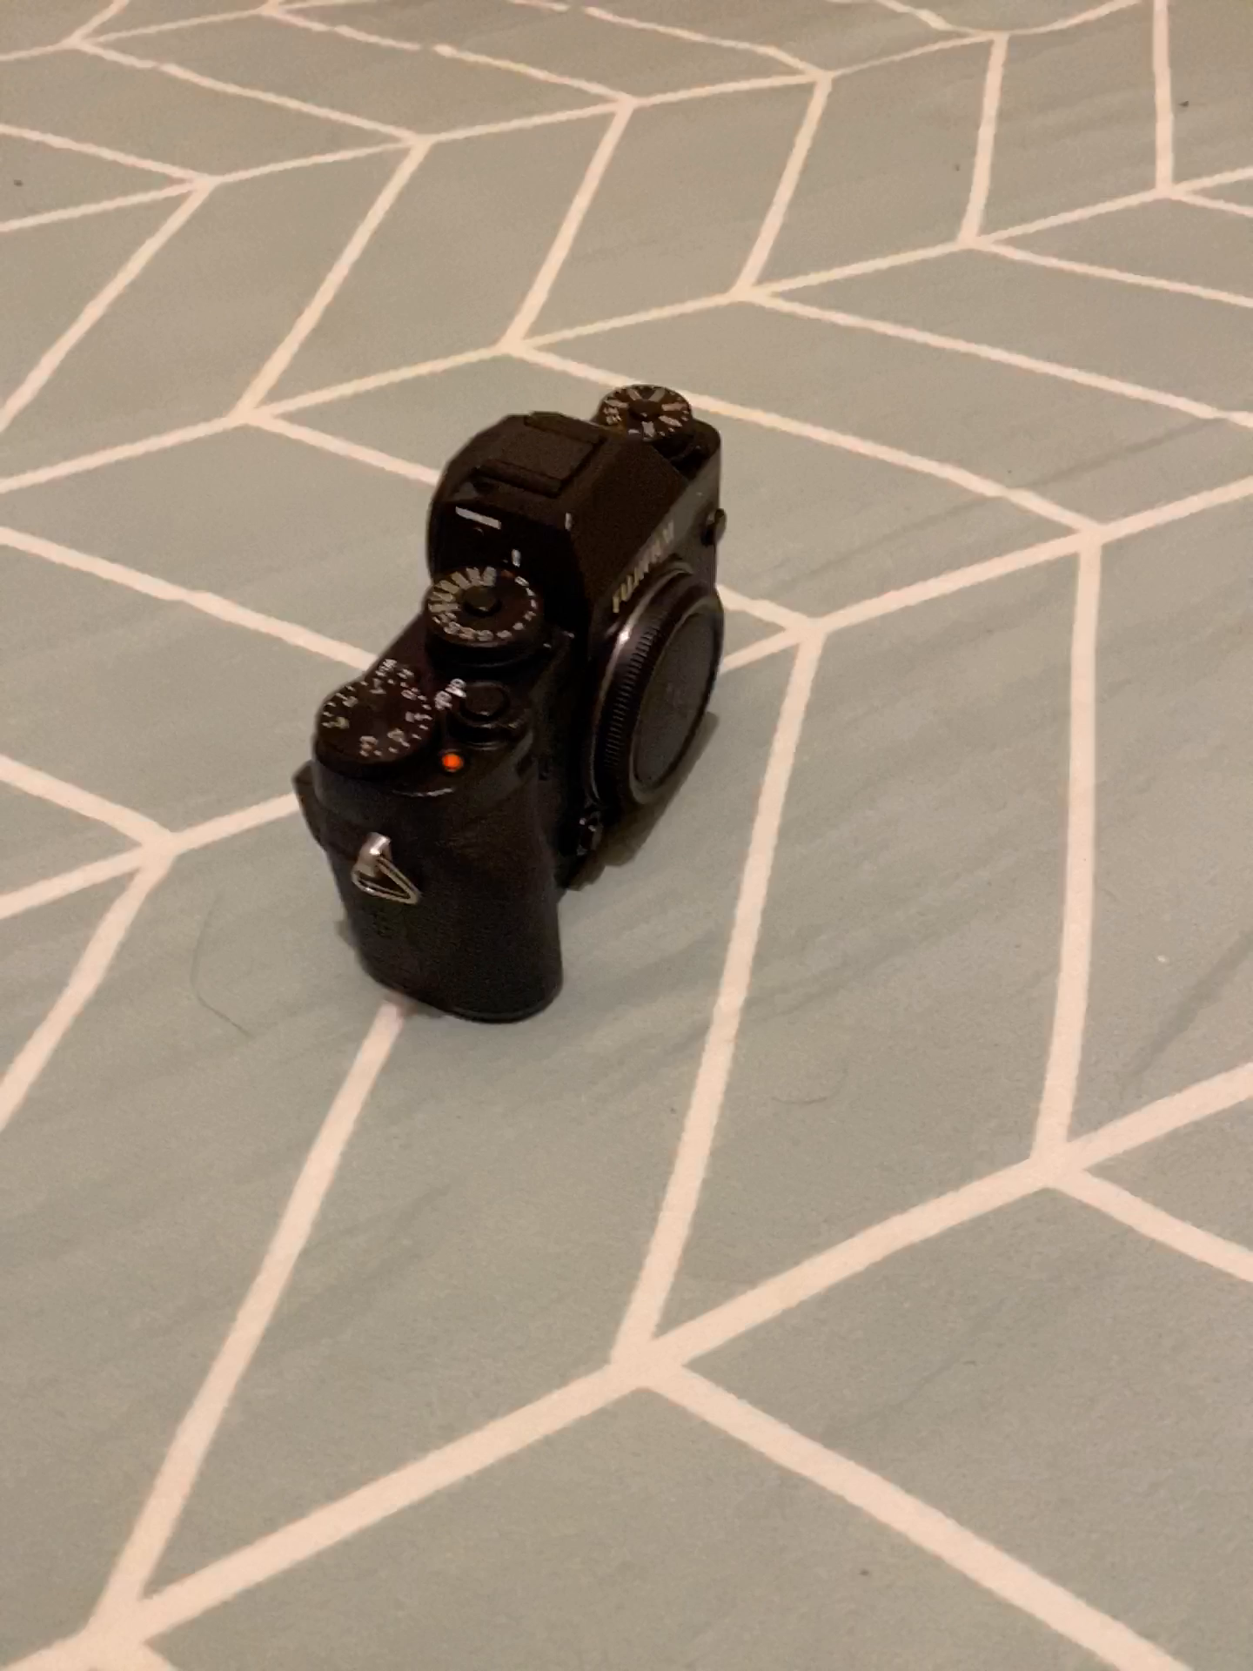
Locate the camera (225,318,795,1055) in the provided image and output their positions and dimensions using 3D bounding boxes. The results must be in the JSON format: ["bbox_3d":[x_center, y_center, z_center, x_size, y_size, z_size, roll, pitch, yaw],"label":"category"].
[{"bbox_3d":[-0.016,-0.035,0.283,0.051,0.087,0.131,22,55,16],"label":"camera"}]
